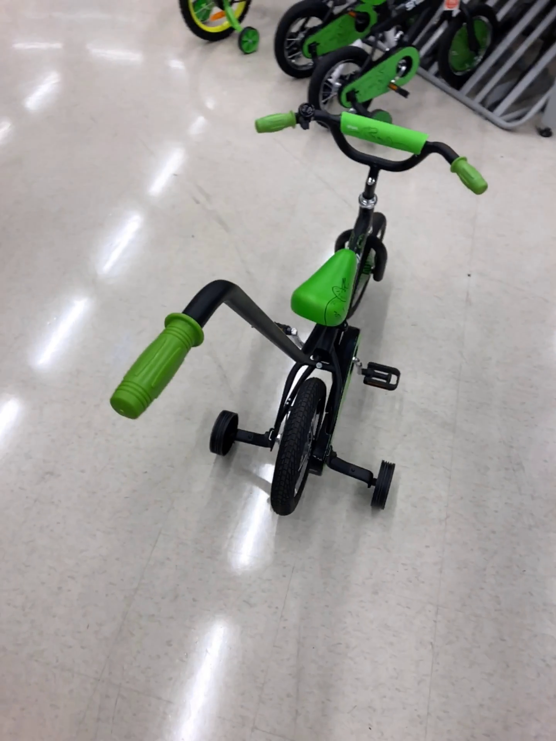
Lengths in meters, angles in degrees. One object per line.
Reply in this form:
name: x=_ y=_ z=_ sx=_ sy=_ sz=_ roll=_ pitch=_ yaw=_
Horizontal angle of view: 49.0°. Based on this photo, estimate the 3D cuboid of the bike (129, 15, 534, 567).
bike: x=0.150 y=-0.188 z=1.288 sx=0.491 sy=0.600 sz=0.849 roll=14 pitch=56 yaw=12
